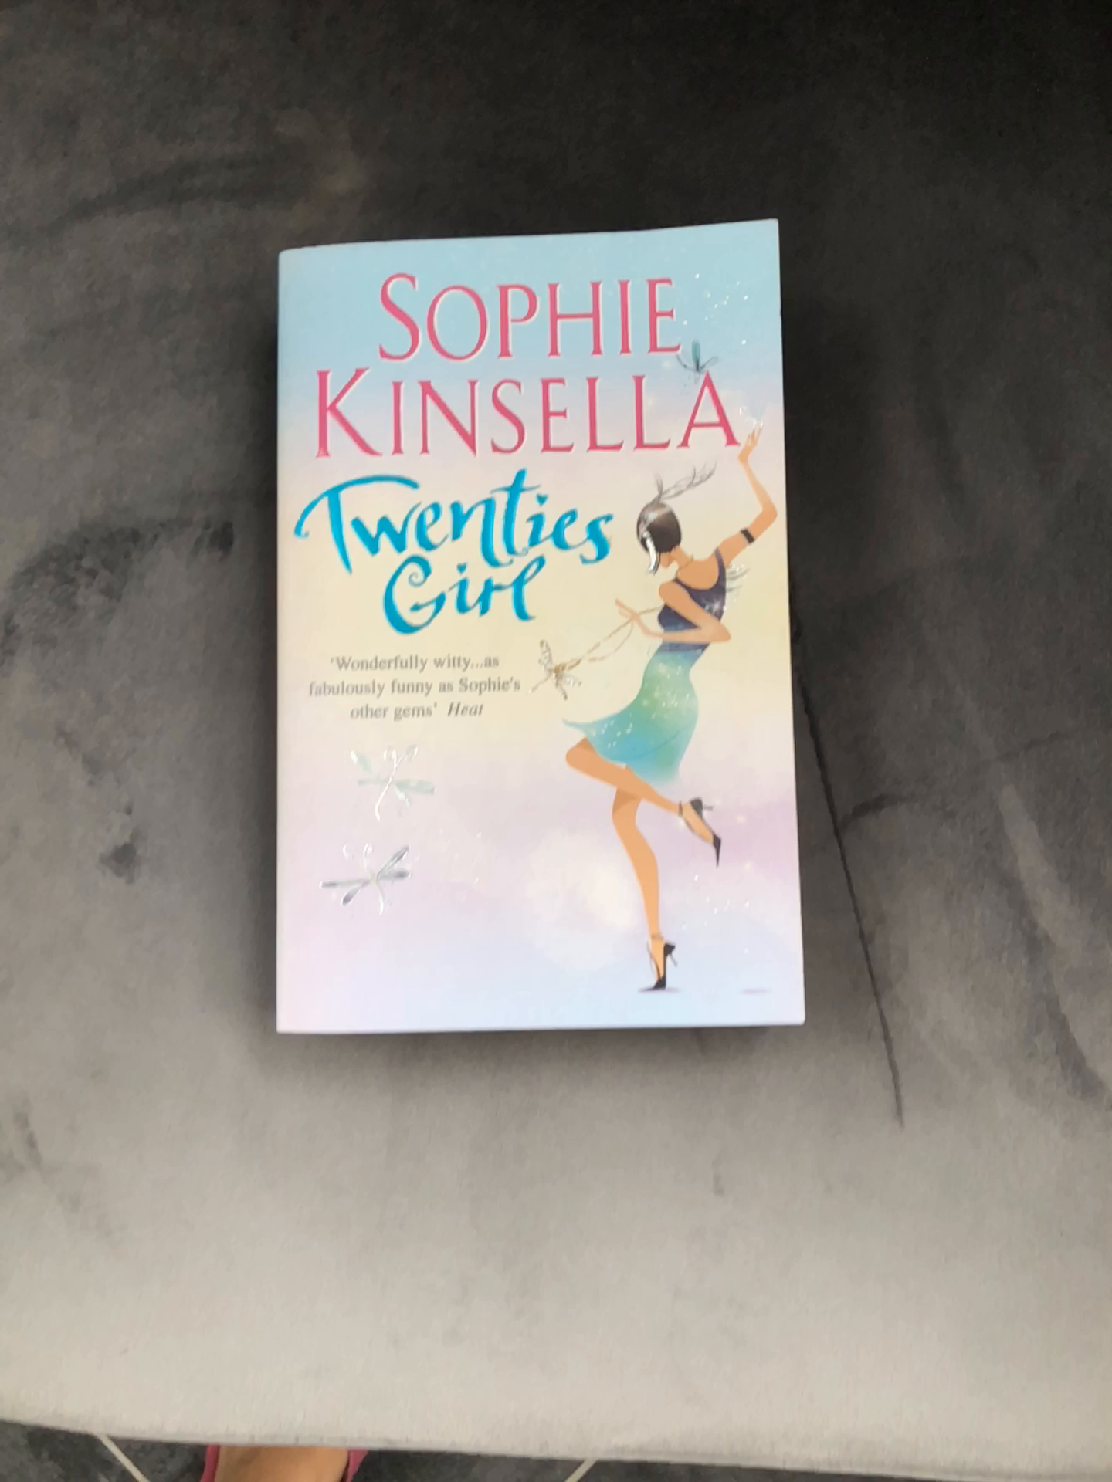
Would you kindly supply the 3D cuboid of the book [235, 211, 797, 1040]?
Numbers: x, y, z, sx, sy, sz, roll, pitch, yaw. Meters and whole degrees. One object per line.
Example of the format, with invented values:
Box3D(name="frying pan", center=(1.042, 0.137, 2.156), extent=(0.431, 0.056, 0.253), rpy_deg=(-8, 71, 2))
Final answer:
Box3D(name="book", center=(-0.012, -0.029, 0.318), extent=(0.132, 0.043, 0.200), rpy_deg=(-1, 85, 0))
